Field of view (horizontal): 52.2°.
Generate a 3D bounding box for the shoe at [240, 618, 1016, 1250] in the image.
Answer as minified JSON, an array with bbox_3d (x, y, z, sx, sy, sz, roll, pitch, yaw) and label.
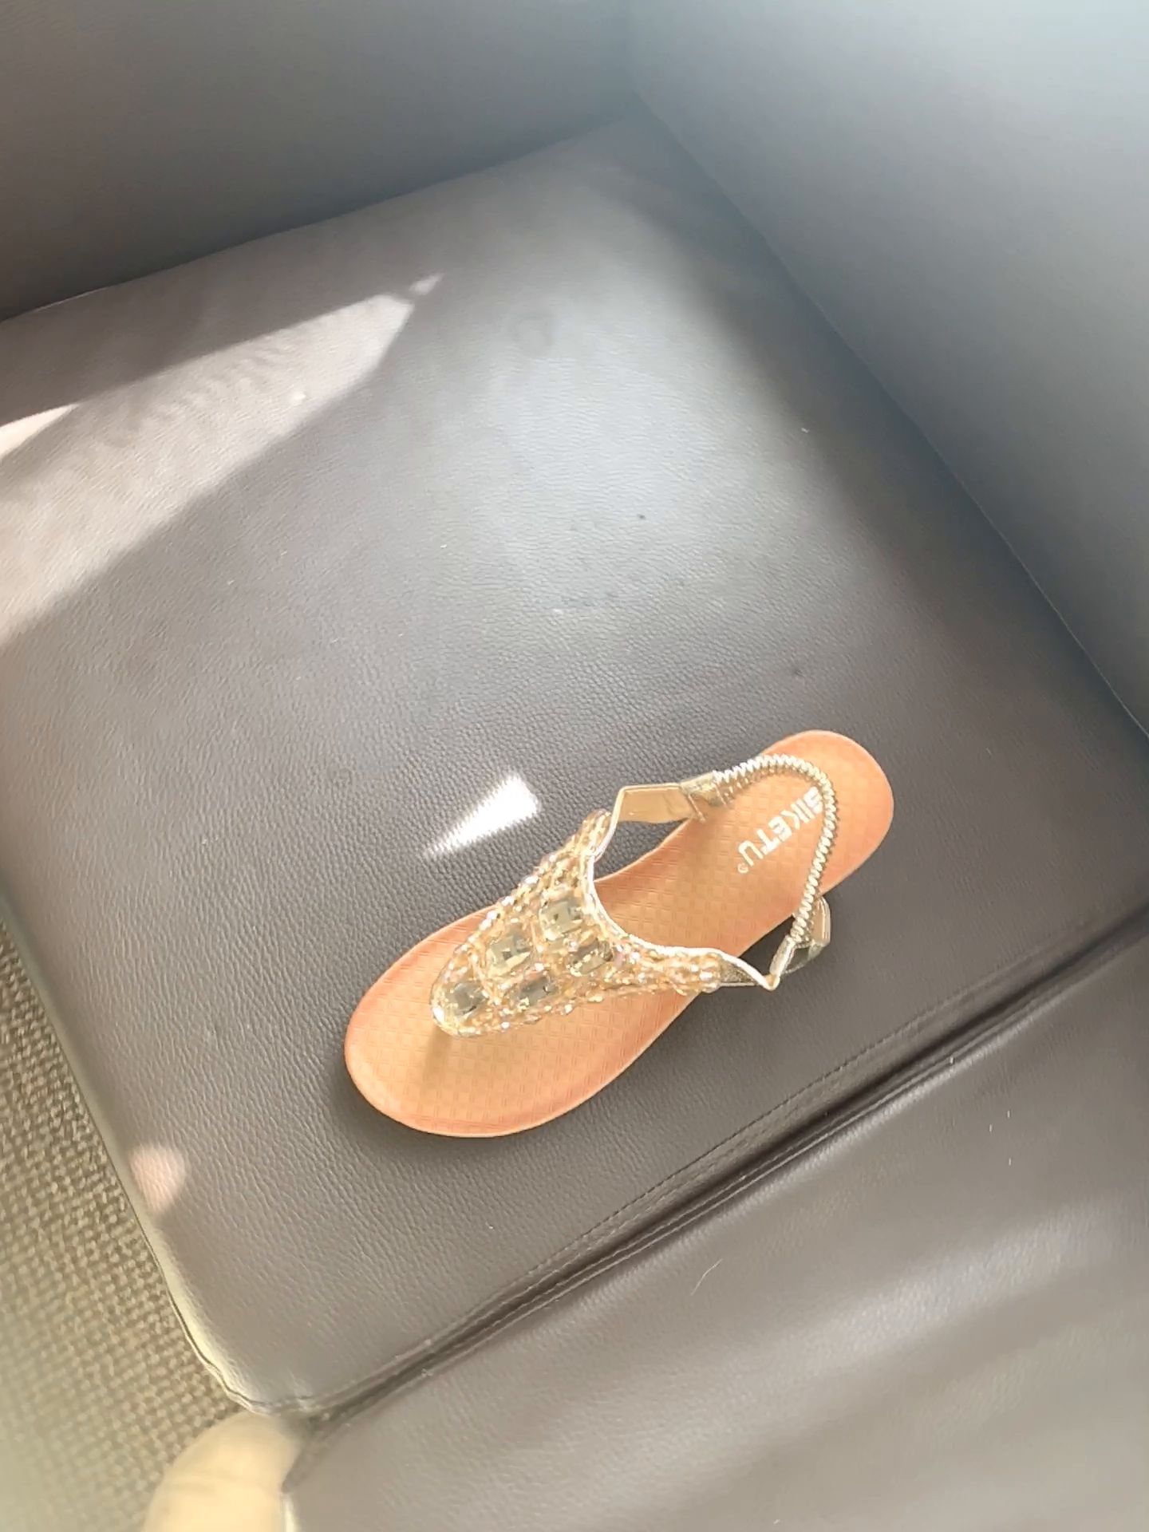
[{"bbox_3d":[0.022,0.071,0.489,0.270,0.140,0.100,-31,76,-12],"label":"shoe"}]
